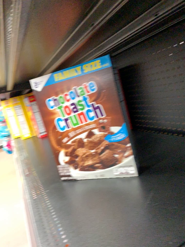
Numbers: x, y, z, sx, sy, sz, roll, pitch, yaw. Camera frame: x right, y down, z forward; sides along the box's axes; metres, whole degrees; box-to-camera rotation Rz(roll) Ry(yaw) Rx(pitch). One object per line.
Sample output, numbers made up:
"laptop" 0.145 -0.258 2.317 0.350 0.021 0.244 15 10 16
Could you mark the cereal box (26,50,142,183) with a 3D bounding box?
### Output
"cereal box" -0.020 -0.003 0.536 0.240 0.319 0.070 -12 11 22
